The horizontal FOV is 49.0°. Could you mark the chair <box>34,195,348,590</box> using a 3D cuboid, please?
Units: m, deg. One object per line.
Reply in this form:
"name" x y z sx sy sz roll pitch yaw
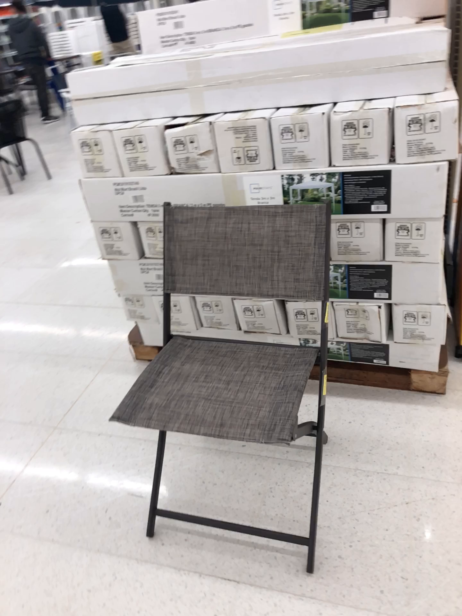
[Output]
"chair" -0.003 0.178 1.254 0.510 0.755 0.503 3 32 19
